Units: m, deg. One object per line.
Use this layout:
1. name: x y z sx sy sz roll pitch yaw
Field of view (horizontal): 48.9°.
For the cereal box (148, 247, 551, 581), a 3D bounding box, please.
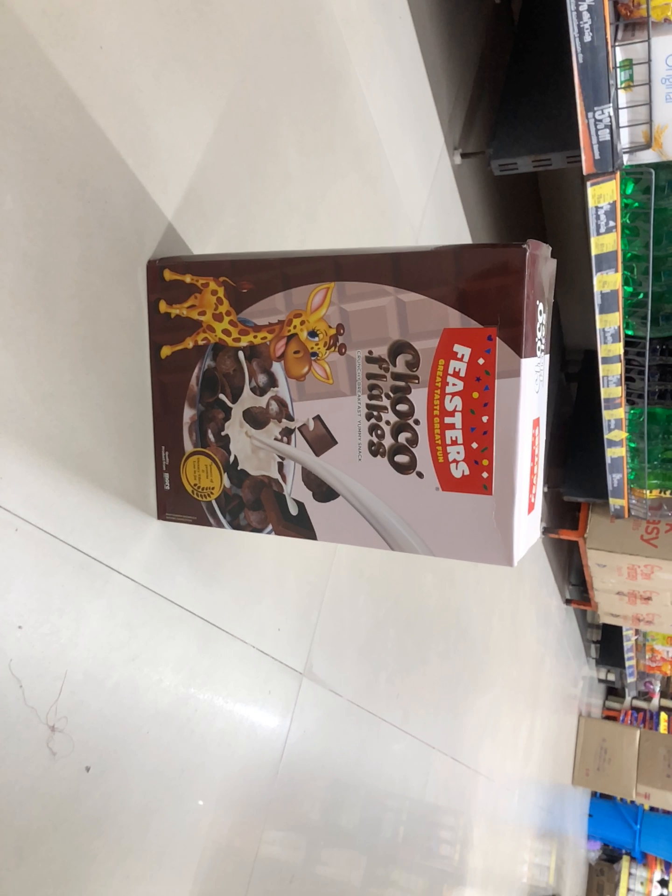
1. cereal box: 0.003 -0.028 0.497 0.060 0.258 0.190 -21 113 -64
